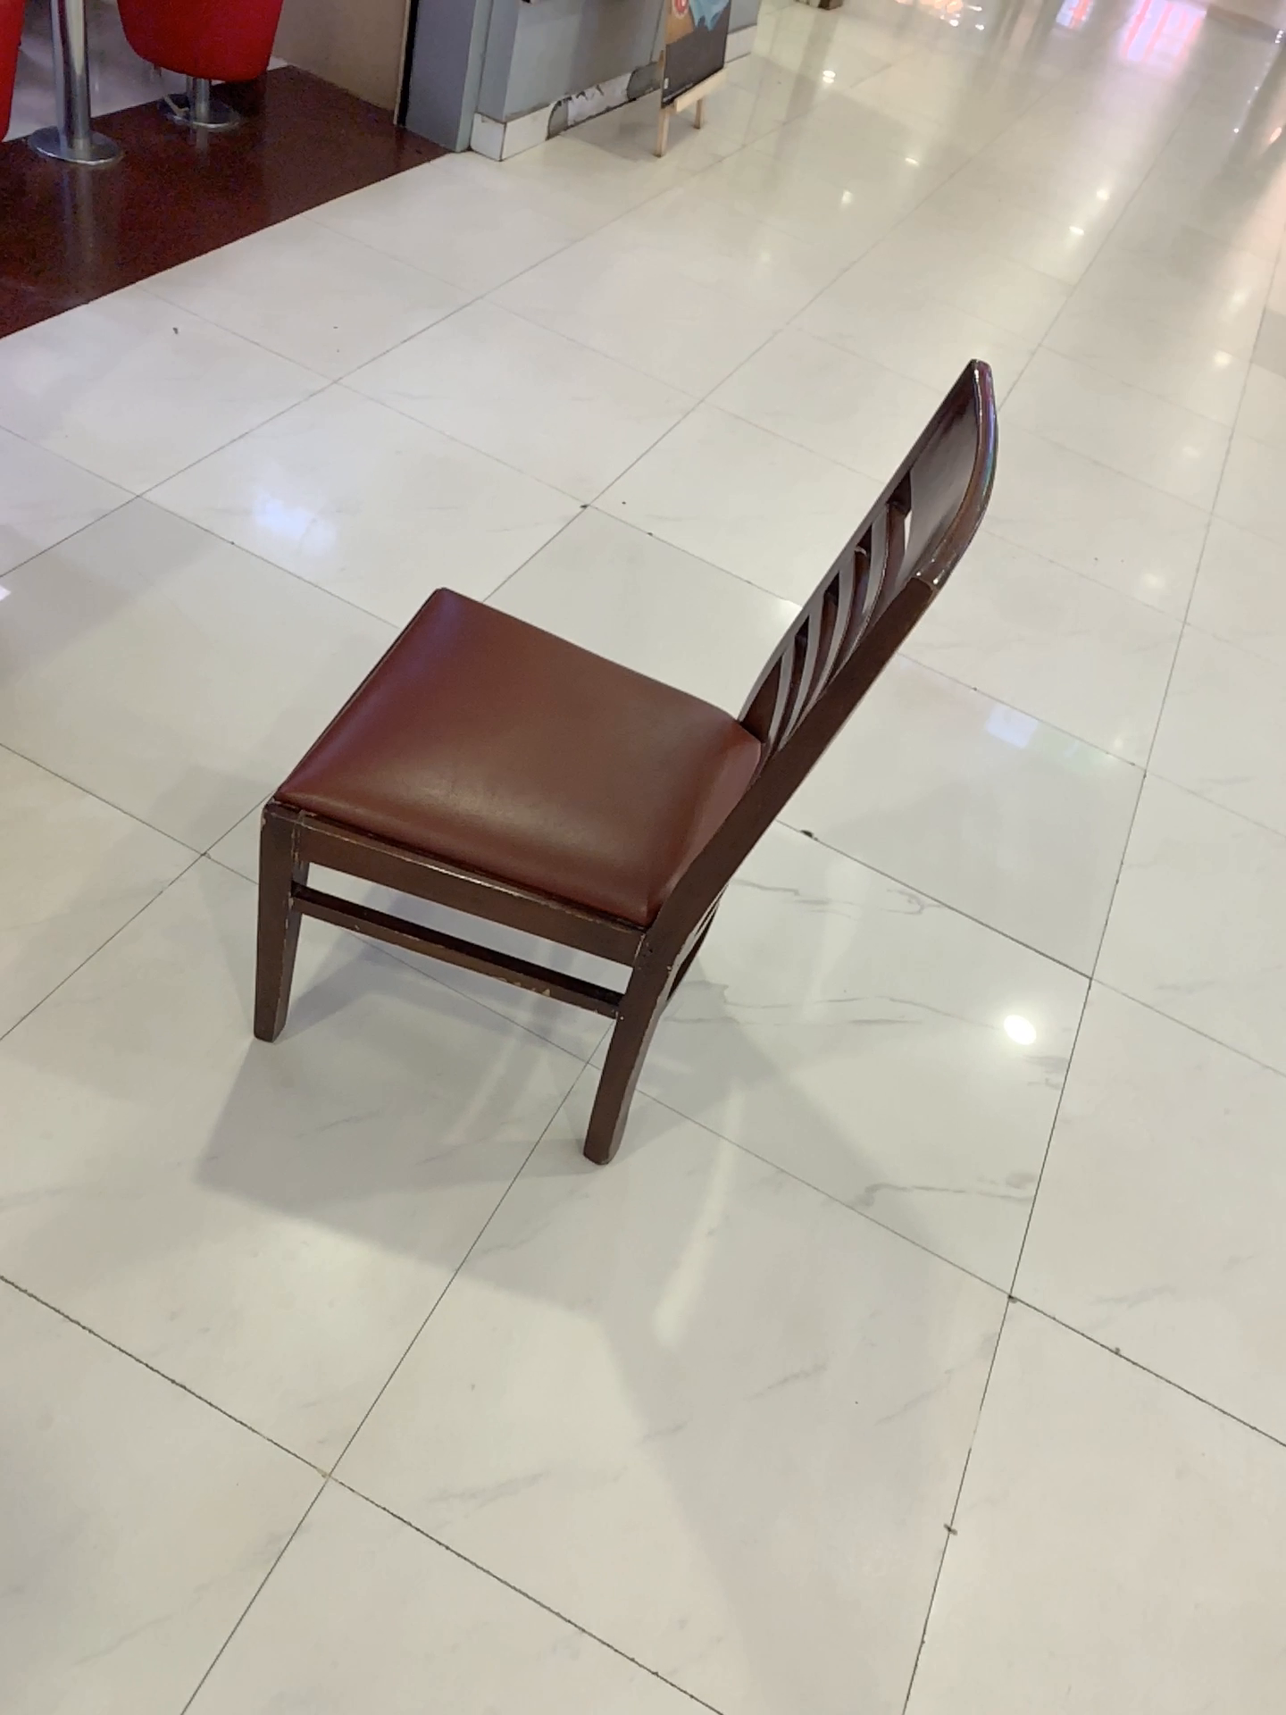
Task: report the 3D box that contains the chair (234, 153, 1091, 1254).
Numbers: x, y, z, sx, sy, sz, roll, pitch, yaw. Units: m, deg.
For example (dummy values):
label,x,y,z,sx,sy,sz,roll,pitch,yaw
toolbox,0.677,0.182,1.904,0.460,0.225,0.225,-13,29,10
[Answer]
label,x,y,z,sx,sy,sz,roll,pitch,yaw
chair,-0.007,-0.135,1.319,0.540,0.784,0.564,23,43,3
